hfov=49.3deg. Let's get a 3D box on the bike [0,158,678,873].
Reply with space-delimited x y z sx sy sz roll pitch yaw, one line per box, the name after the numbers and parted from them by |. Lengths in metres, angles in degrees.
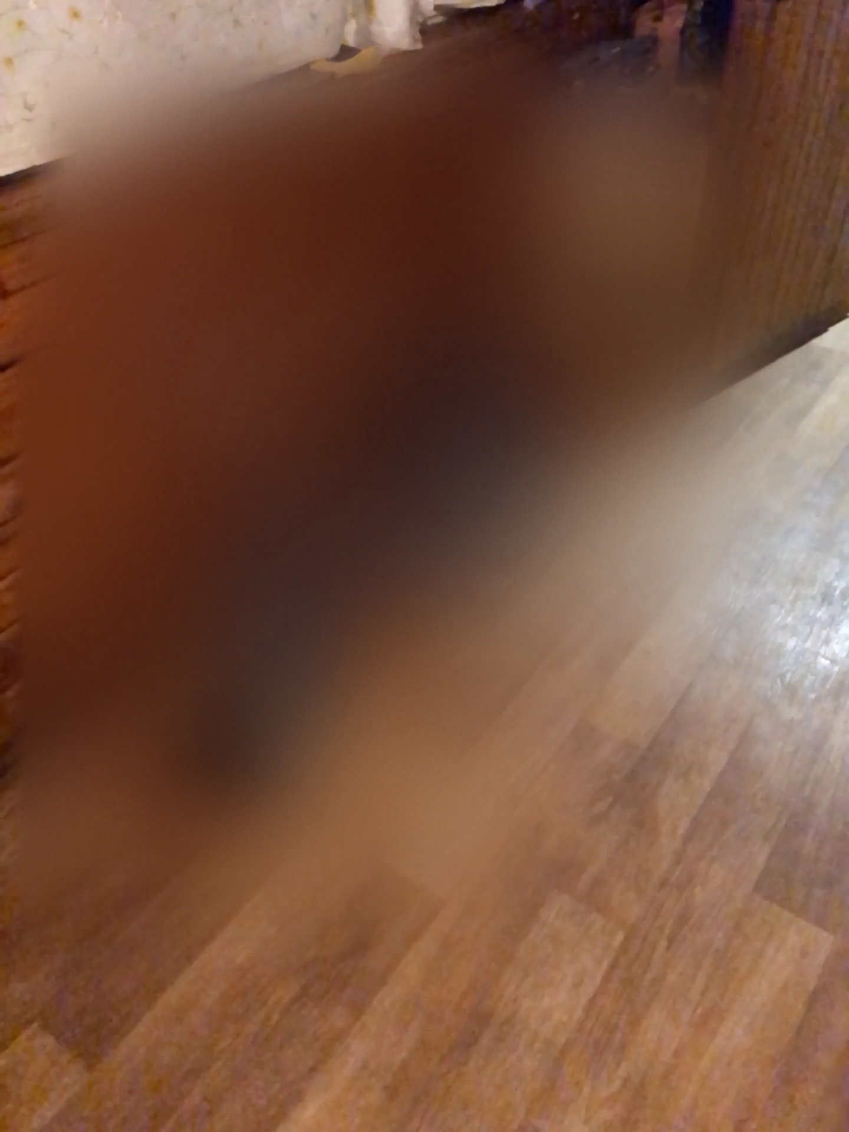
-0.083 -0.173 1.577 0.594 0.698 0.960 25 46 28 | bike
